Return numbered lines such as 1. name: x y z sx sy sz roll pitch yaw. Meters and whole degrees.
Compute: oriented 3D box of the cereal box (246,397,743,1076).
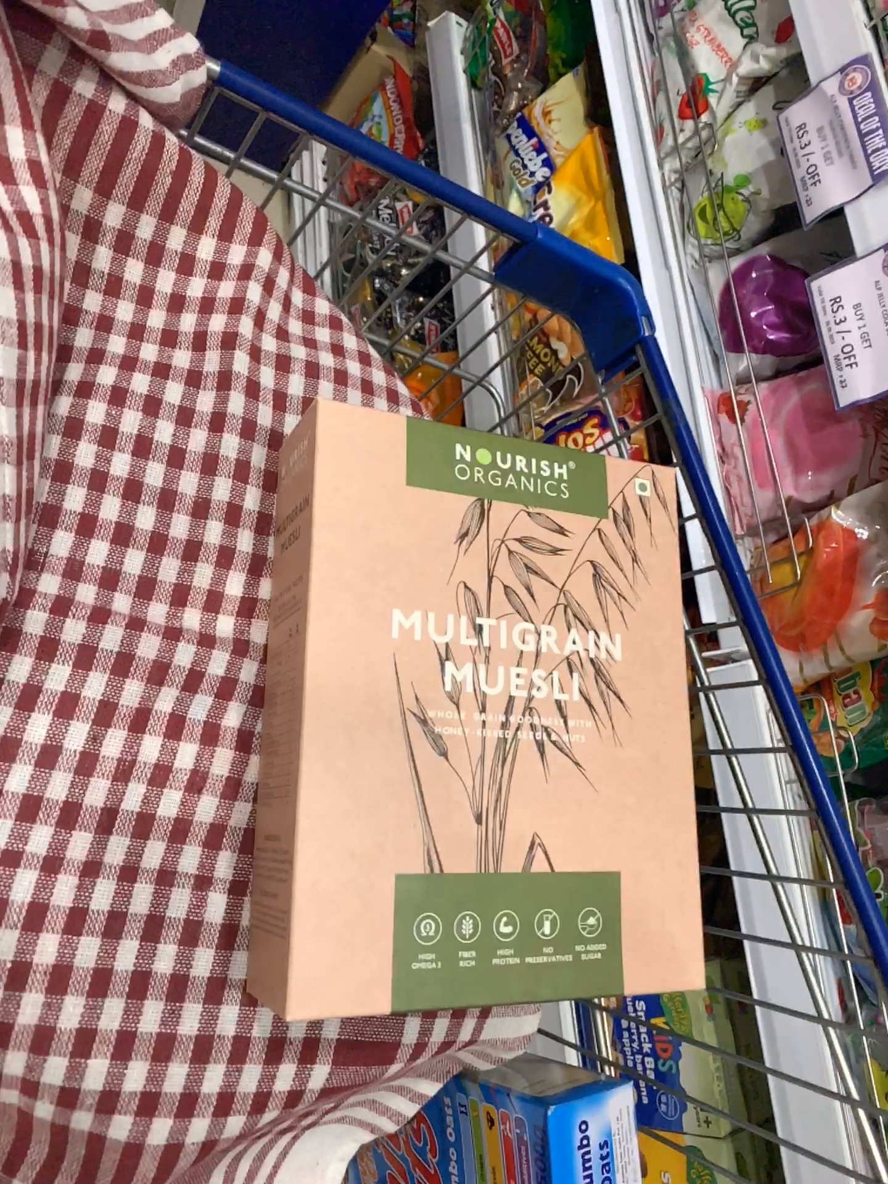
1. cereal box: 0.021 0.048 0.326 0.161 0.050 0.200 7 74 -25
